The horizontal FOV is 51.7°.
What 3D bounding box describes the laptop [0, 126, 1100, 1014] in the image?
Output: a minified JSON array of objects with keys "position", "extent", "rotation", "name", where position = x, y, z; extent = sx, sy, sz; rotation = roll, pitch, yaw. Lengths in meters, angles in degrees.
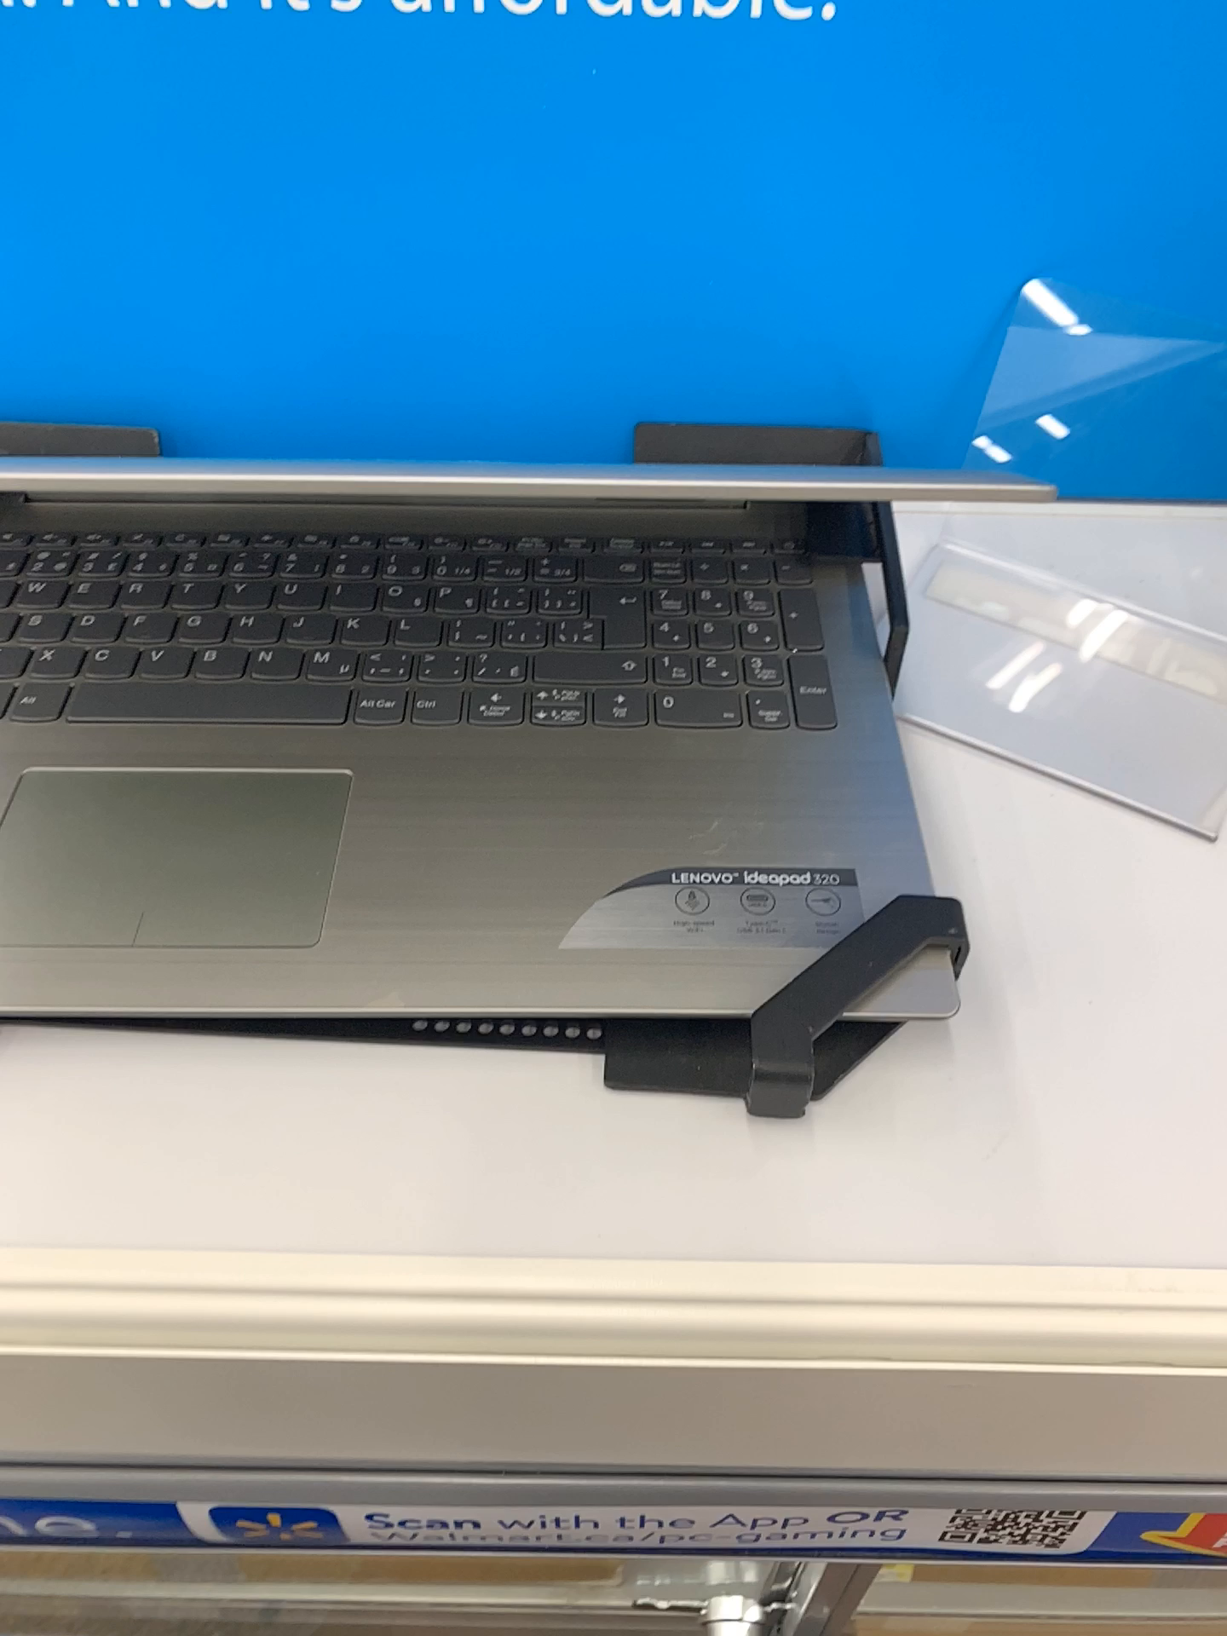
[{"position":[-0.078,-0.078,0.337],"extent":[0.326,0.115,0.230],"rotation":[0,47,-1],"name":"laptop"}]
